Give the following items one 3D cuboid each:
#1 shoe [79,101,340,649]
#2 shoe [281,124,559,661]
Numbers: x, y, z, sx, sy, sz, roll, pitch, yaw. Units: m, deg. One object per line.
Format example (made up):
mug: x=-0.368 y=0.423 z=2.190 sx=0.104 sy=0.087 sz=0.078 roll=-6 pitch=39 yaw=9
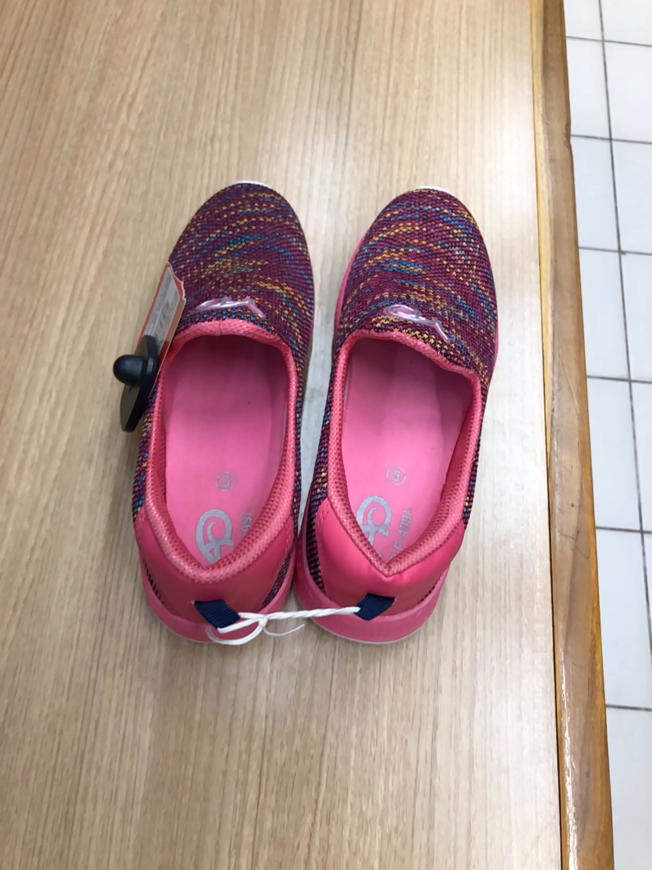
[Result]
shoe: x=-0.045 y=-0.029 z=0.363 sx=0.090 sy=0.100 sz=0.251 roll=3 pitch=69 yaw=-2
shoe: x=0.052 y=-0.024 z=0.395 sx=0.100 sy=0.100 sz=0.261 roll=11 pitch=69 yaw=1
